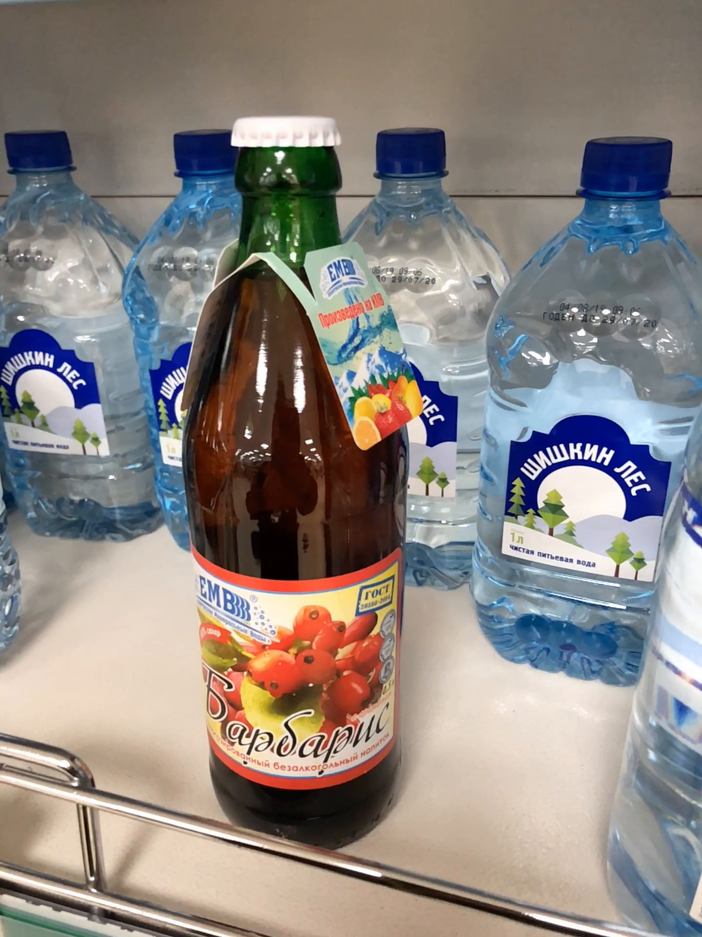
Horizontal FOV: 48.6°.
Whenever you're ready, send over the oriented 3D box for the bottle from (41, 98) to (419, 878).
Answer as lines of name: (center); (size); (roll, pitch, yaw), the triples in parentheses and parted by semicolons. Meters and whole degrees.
bottle: (-0.022, 0.013, 0.235); (0.073, 0.222, 0.057); (6, 26, 18)
